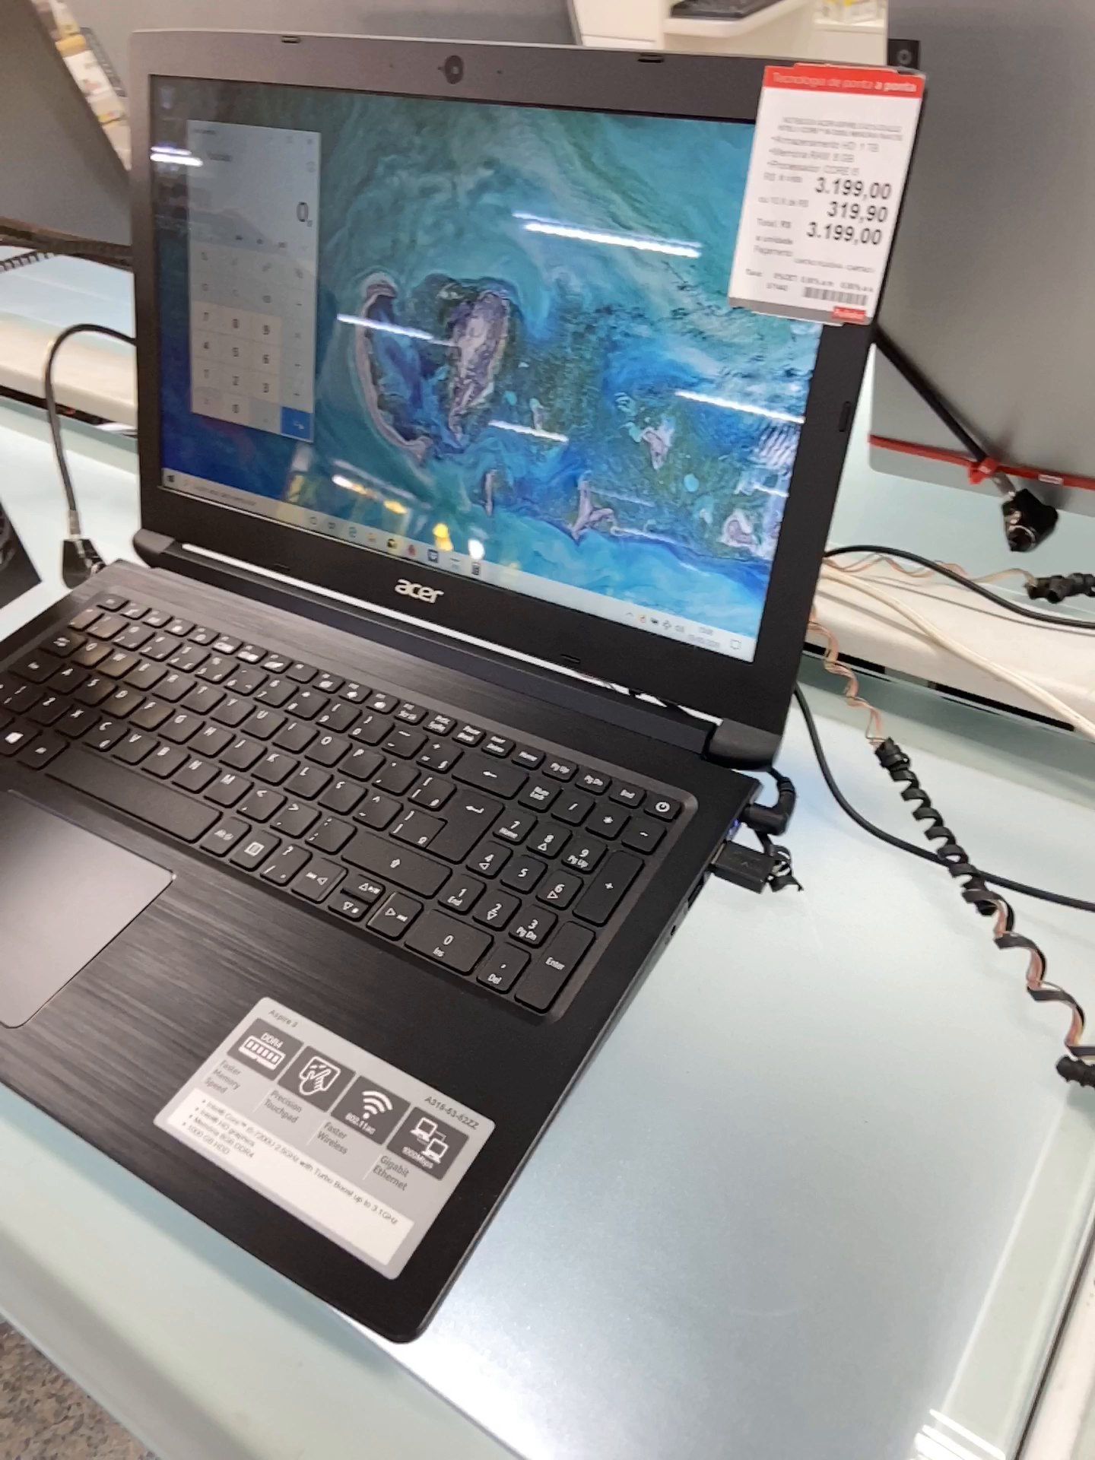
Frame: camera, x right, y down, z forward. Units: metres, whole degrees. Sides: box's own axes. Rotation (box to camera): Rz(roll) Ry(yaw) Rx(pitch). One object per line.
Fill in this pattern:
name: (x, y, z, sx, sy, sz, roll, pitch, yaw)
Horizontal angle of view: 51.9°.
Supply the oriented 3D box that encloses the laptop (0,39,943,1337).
laptop: (-0.114, -0.080, 0.420, 0.375, 0.227, 0.354, 19, 49, 27)
